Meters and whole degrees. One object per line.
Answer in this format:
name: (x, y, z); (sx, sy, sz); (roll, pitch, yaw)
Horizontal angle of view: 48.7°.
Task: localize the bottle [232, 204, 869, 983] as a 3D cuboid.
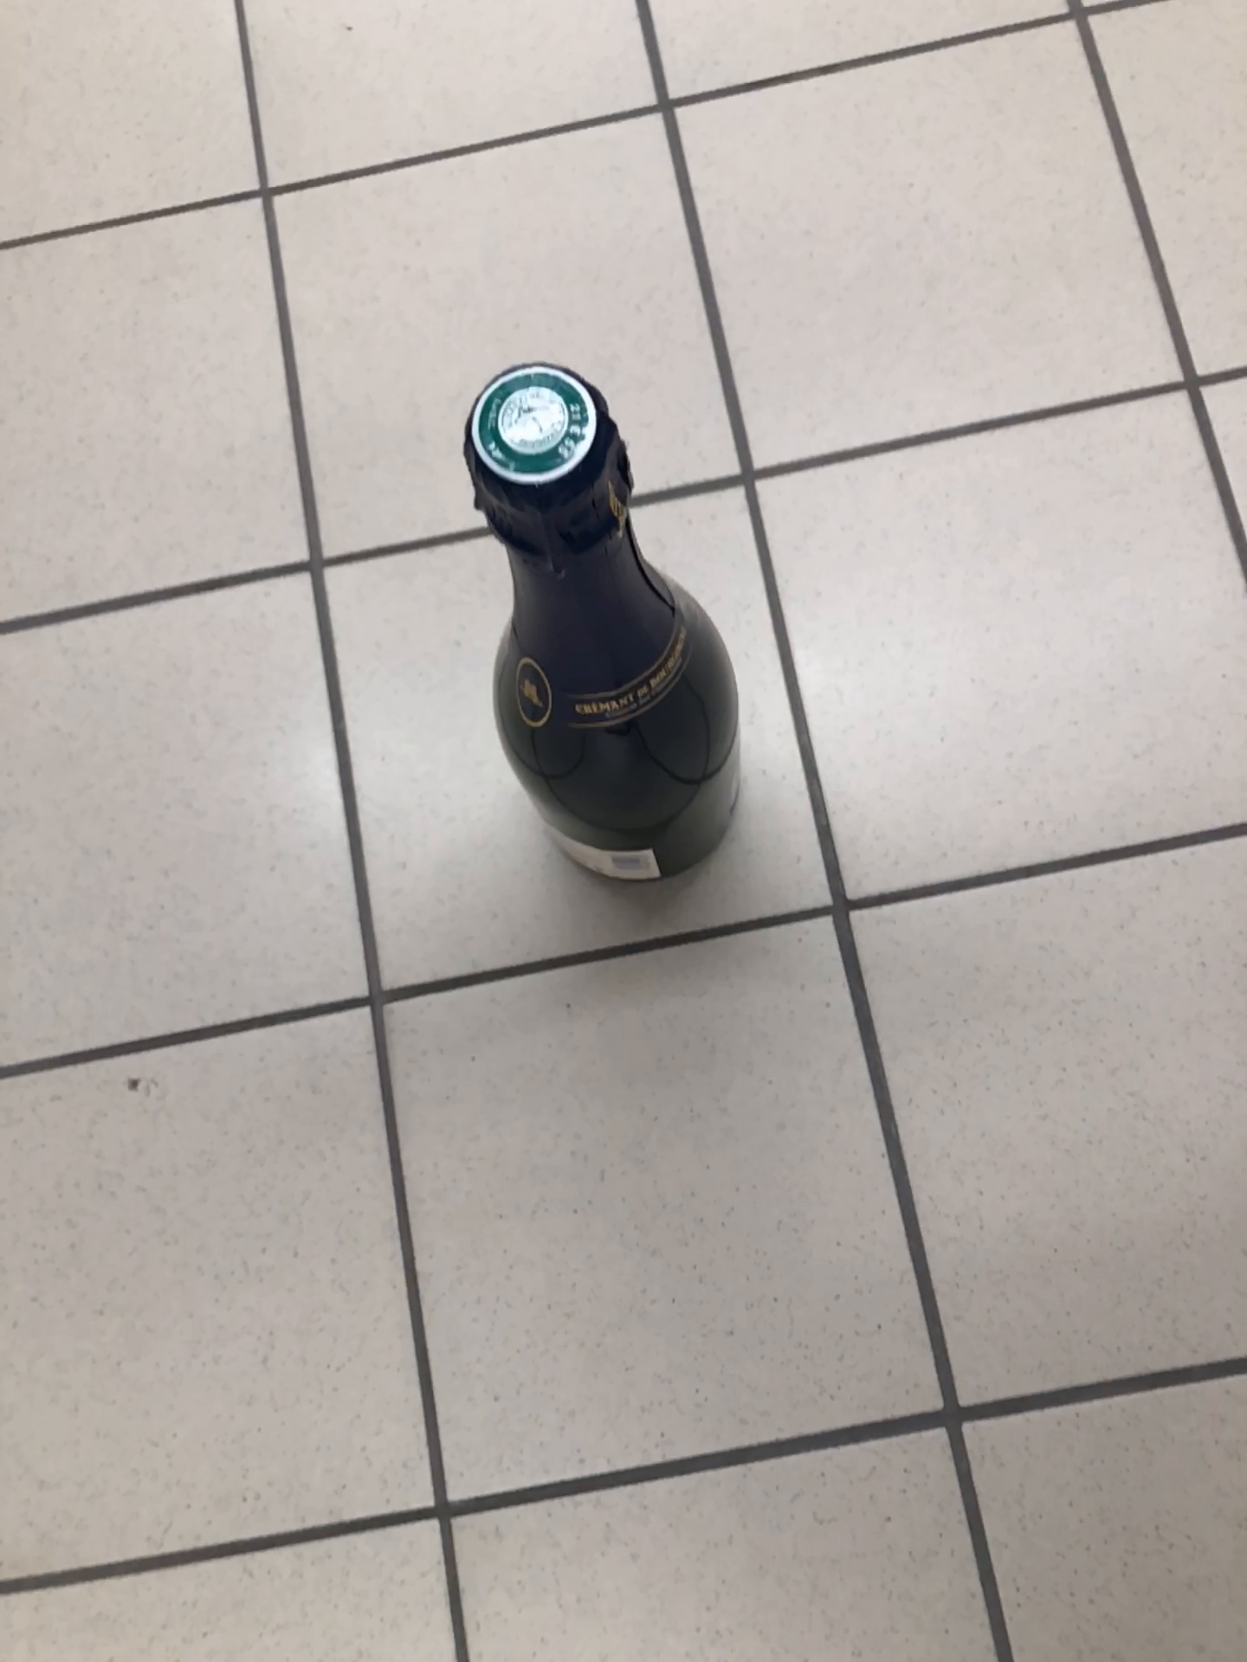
bottle: (-0.005, -0.040, 0.450); (0.100, 0.310, 0.100); (-1, 76, 5)
